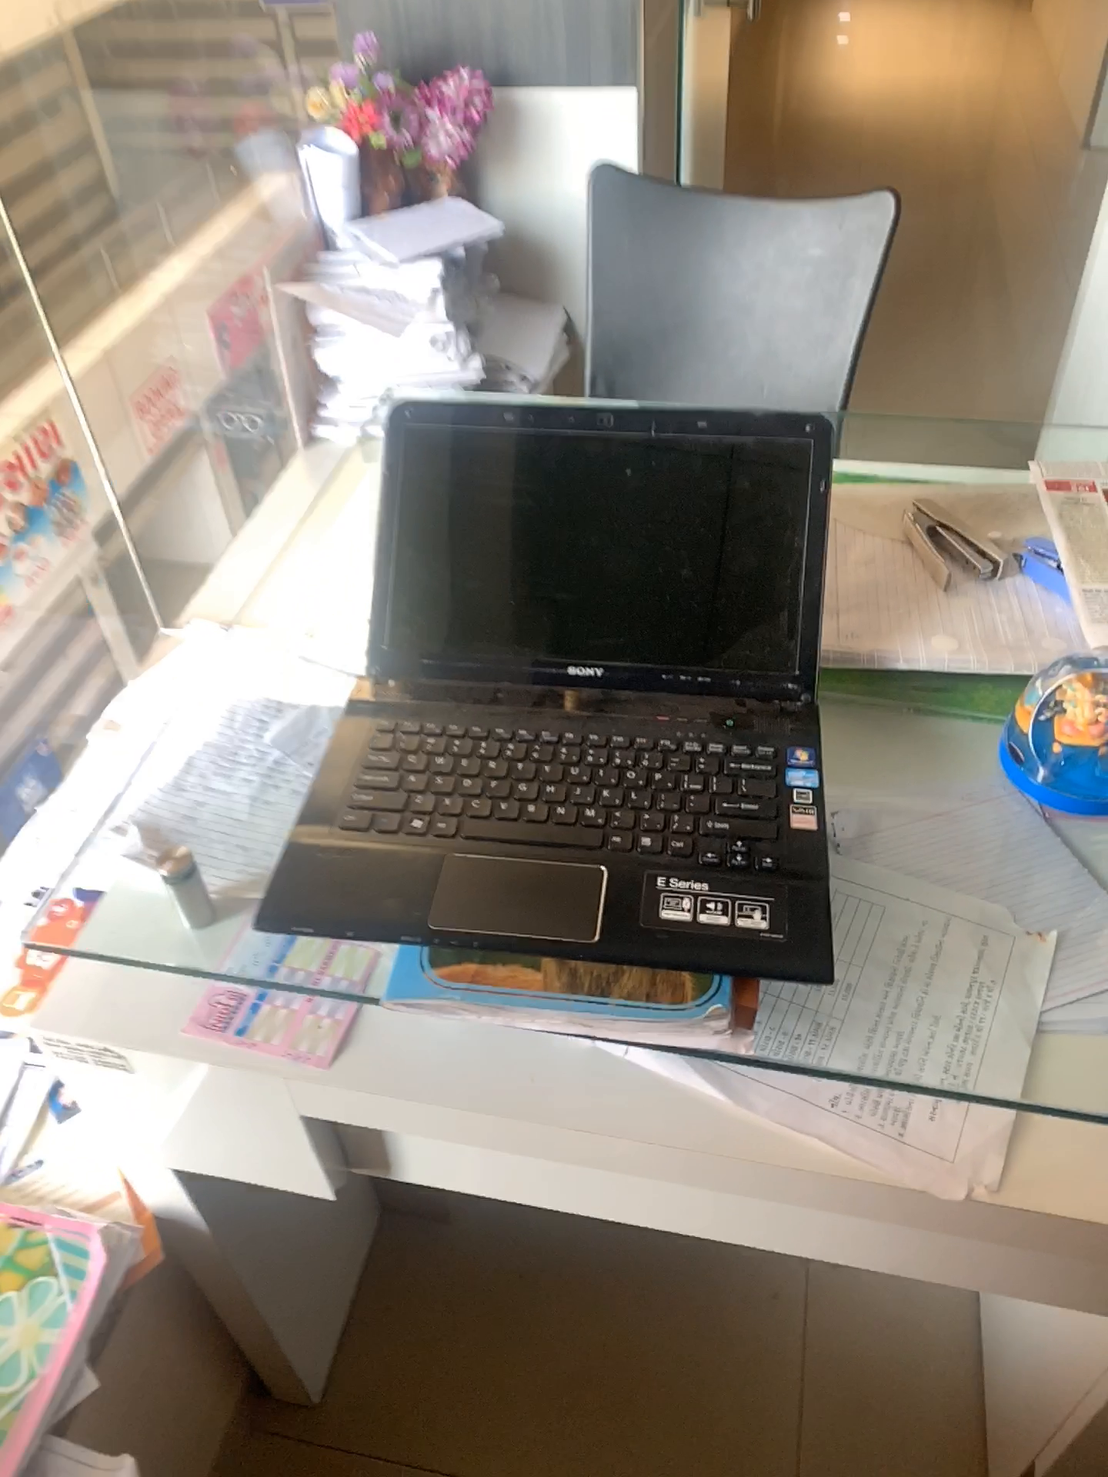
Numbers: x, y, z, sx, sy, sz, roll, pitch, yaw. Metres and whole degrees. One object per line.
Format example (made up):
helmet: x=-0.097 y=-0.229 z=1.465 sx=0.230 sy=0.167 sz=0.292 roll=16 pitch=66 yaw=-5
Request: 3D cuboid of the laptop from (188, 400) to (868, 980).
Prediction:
laptop: x=0.010 y=-0.054 z=0.627 sx=0.285 sy=0.111 sz=0.338 roll=4 pitch=43 yaw=8
